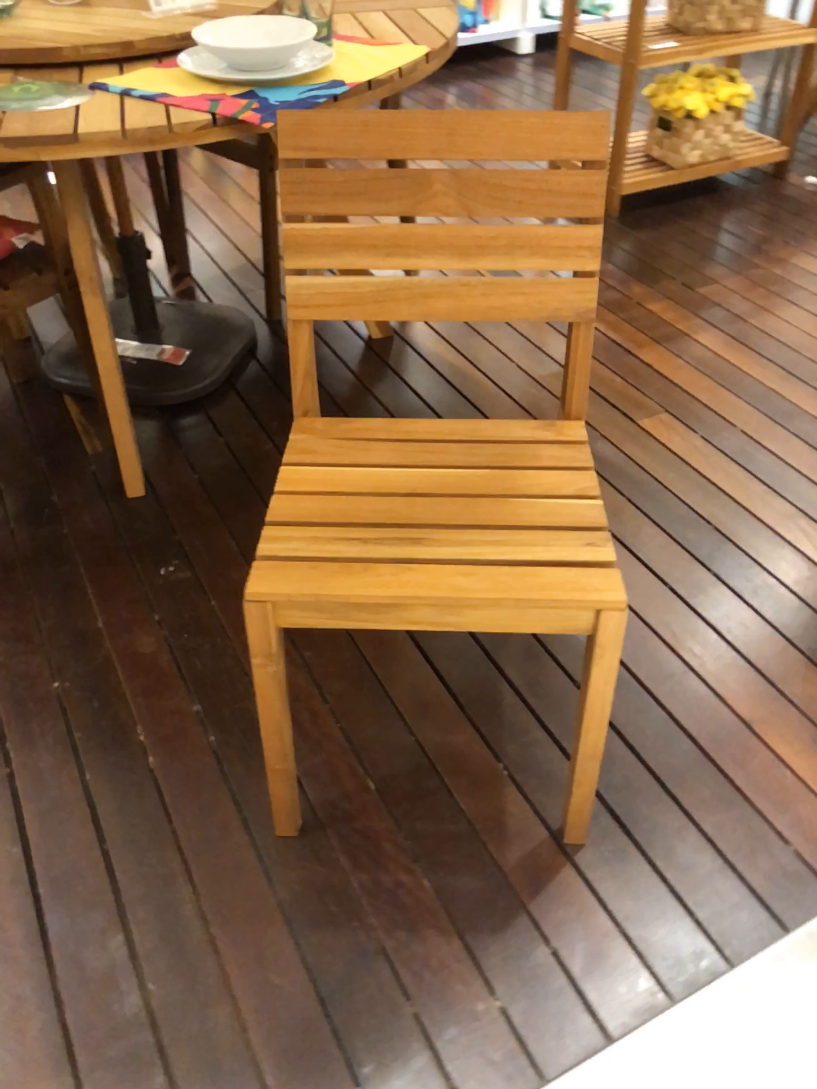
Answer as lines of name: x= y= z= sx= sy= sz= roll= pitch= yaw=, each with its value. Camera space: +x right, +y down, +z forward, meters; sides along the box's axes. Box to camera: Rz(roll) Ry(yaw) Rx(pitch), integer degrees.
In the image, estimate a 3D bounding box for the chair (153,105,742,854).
chair: x=0.042 y=-0.079 z=1.181 sx=0.460 sy=0.764 sz=0.605 roll=1 pitch=41 yaw=2
